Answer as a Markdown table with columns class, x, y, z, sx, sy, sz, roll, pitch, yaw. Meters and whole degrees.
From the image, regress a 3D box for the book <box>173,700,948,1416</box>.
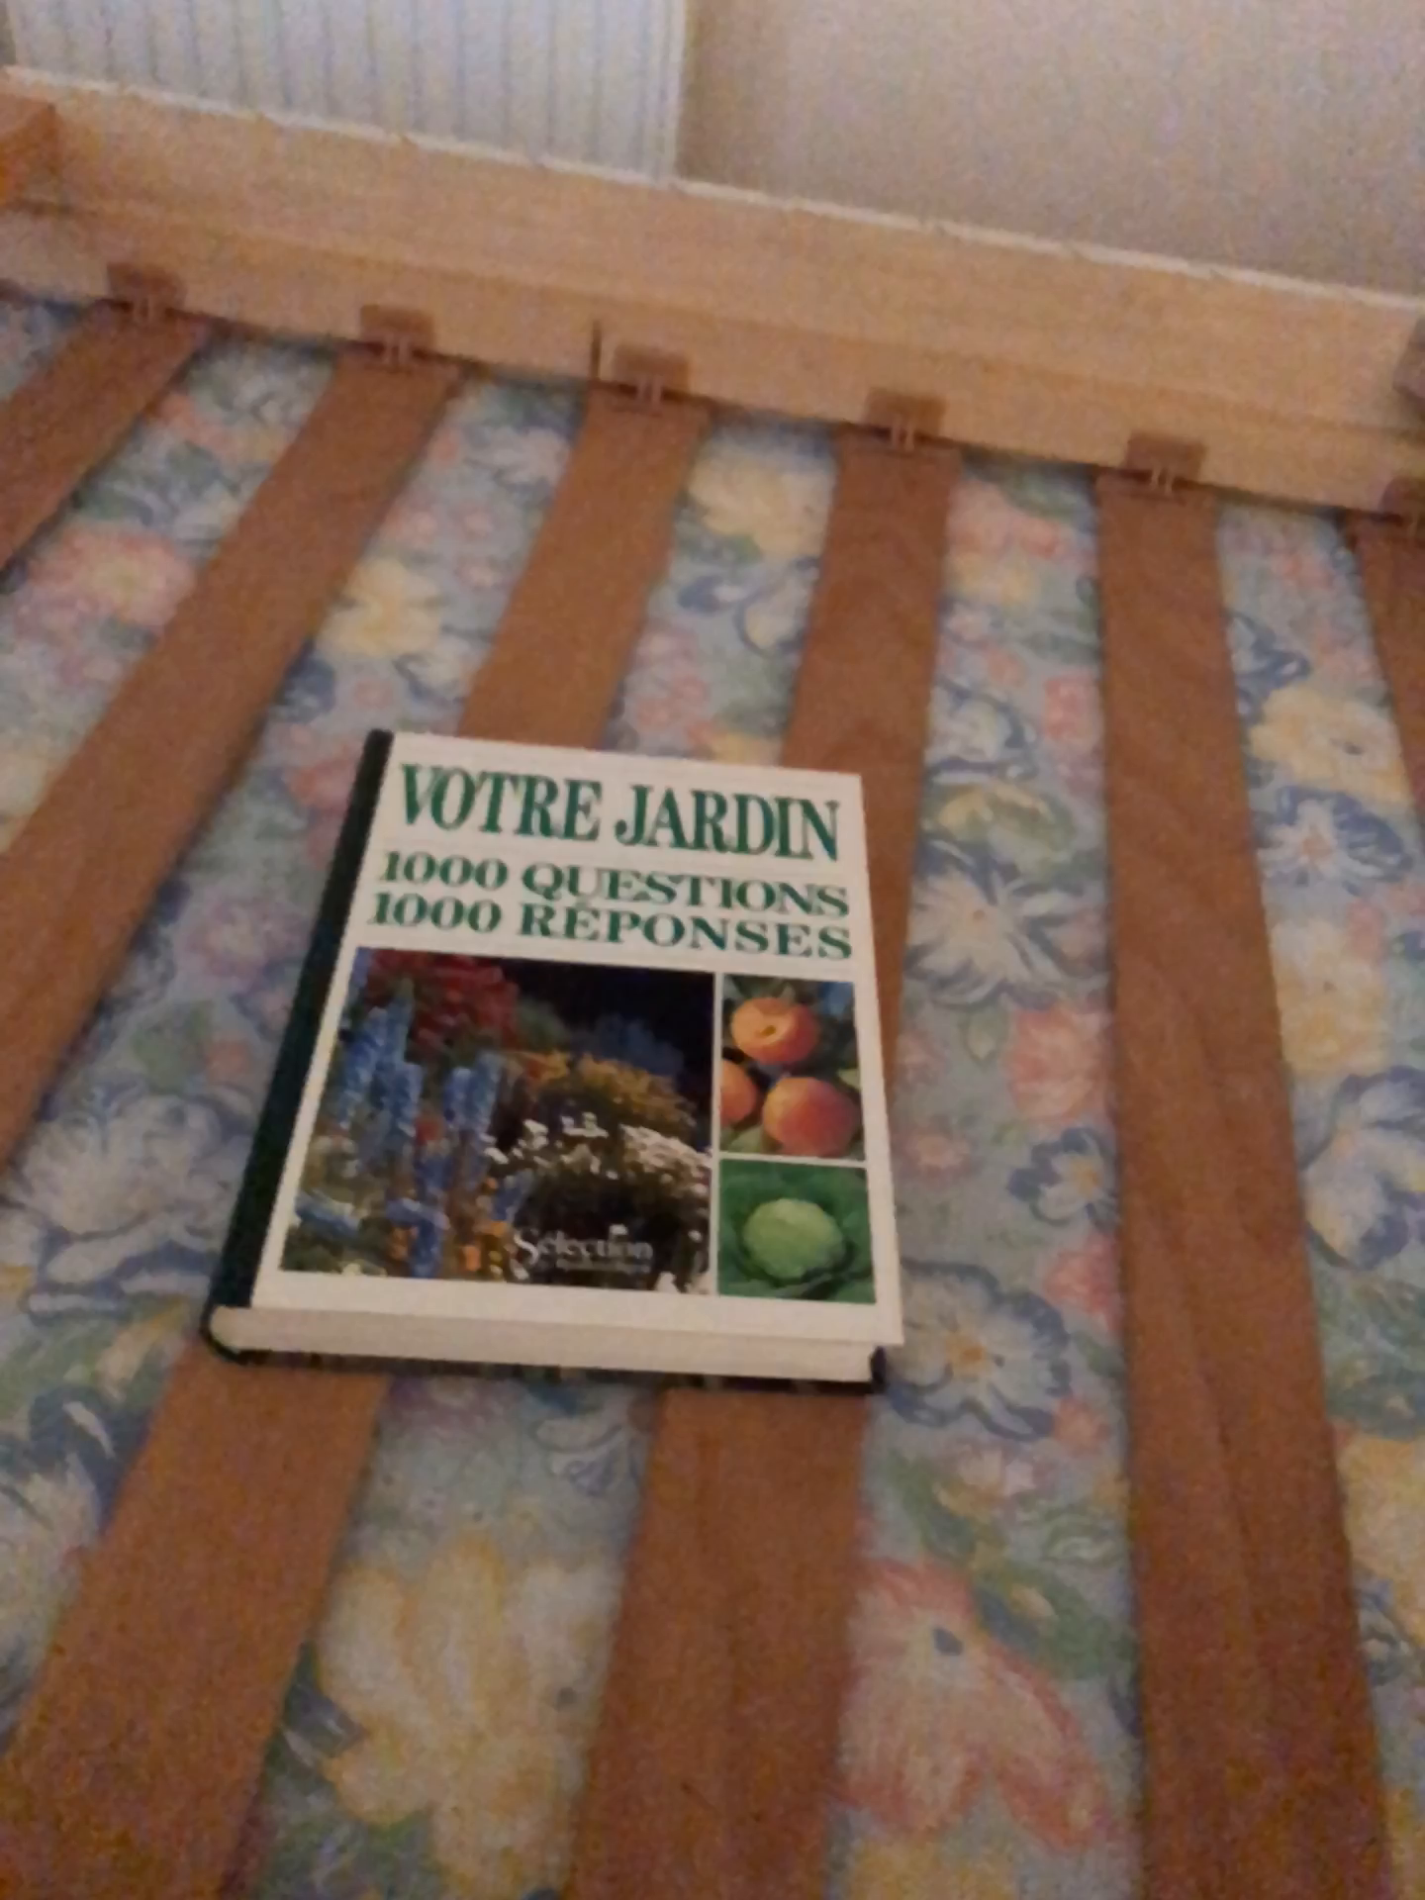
| class | x | y | z | sx | sy | sz | roll | pitch | yaw |
| --- | --- | --- | --- | --- | --- | --- | --- | --- | --- |
| book | -0.041 | 0.022 | 0.561 | 0.220 | 0.050 | 0.271 | 4 | 46 | -3 |
